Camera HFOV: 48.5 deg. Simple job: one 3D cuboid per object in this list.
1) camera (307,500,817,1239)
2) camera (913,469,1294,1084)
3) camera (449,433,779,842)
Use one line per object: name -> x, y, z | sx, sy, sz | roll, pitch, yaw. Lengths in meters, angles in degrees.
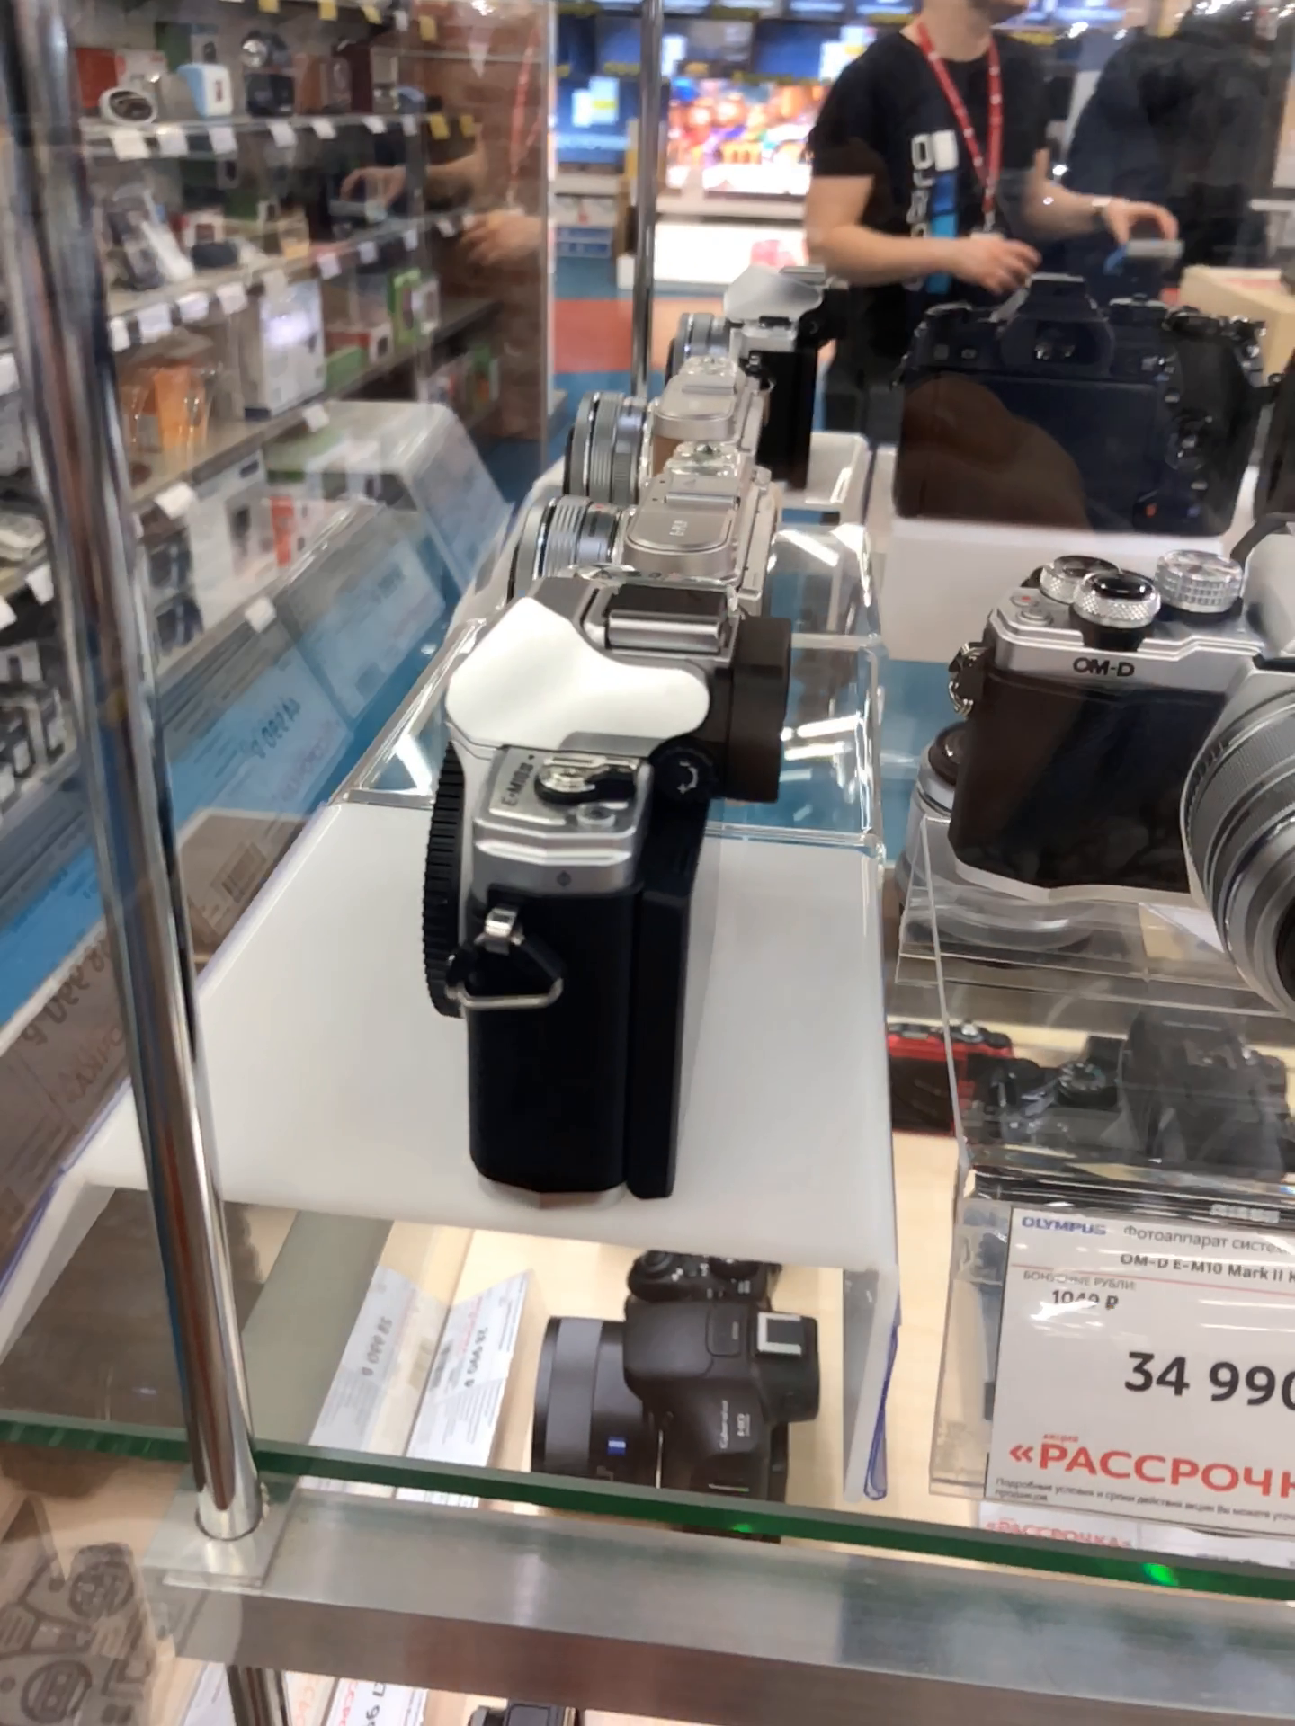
camera -> -0.006, -0.009, 0.253 | 0.064, 0.077, 0.122 | 5, 28, 5
camera -> 0.133, -0.024, 0.296 | 0.136, 0.084, 0.102 | 3, 28, 2
camera -> -0.004, -0.067, 0.391 | 0.068, 0.068, 0.125 | 5, 28, 6
